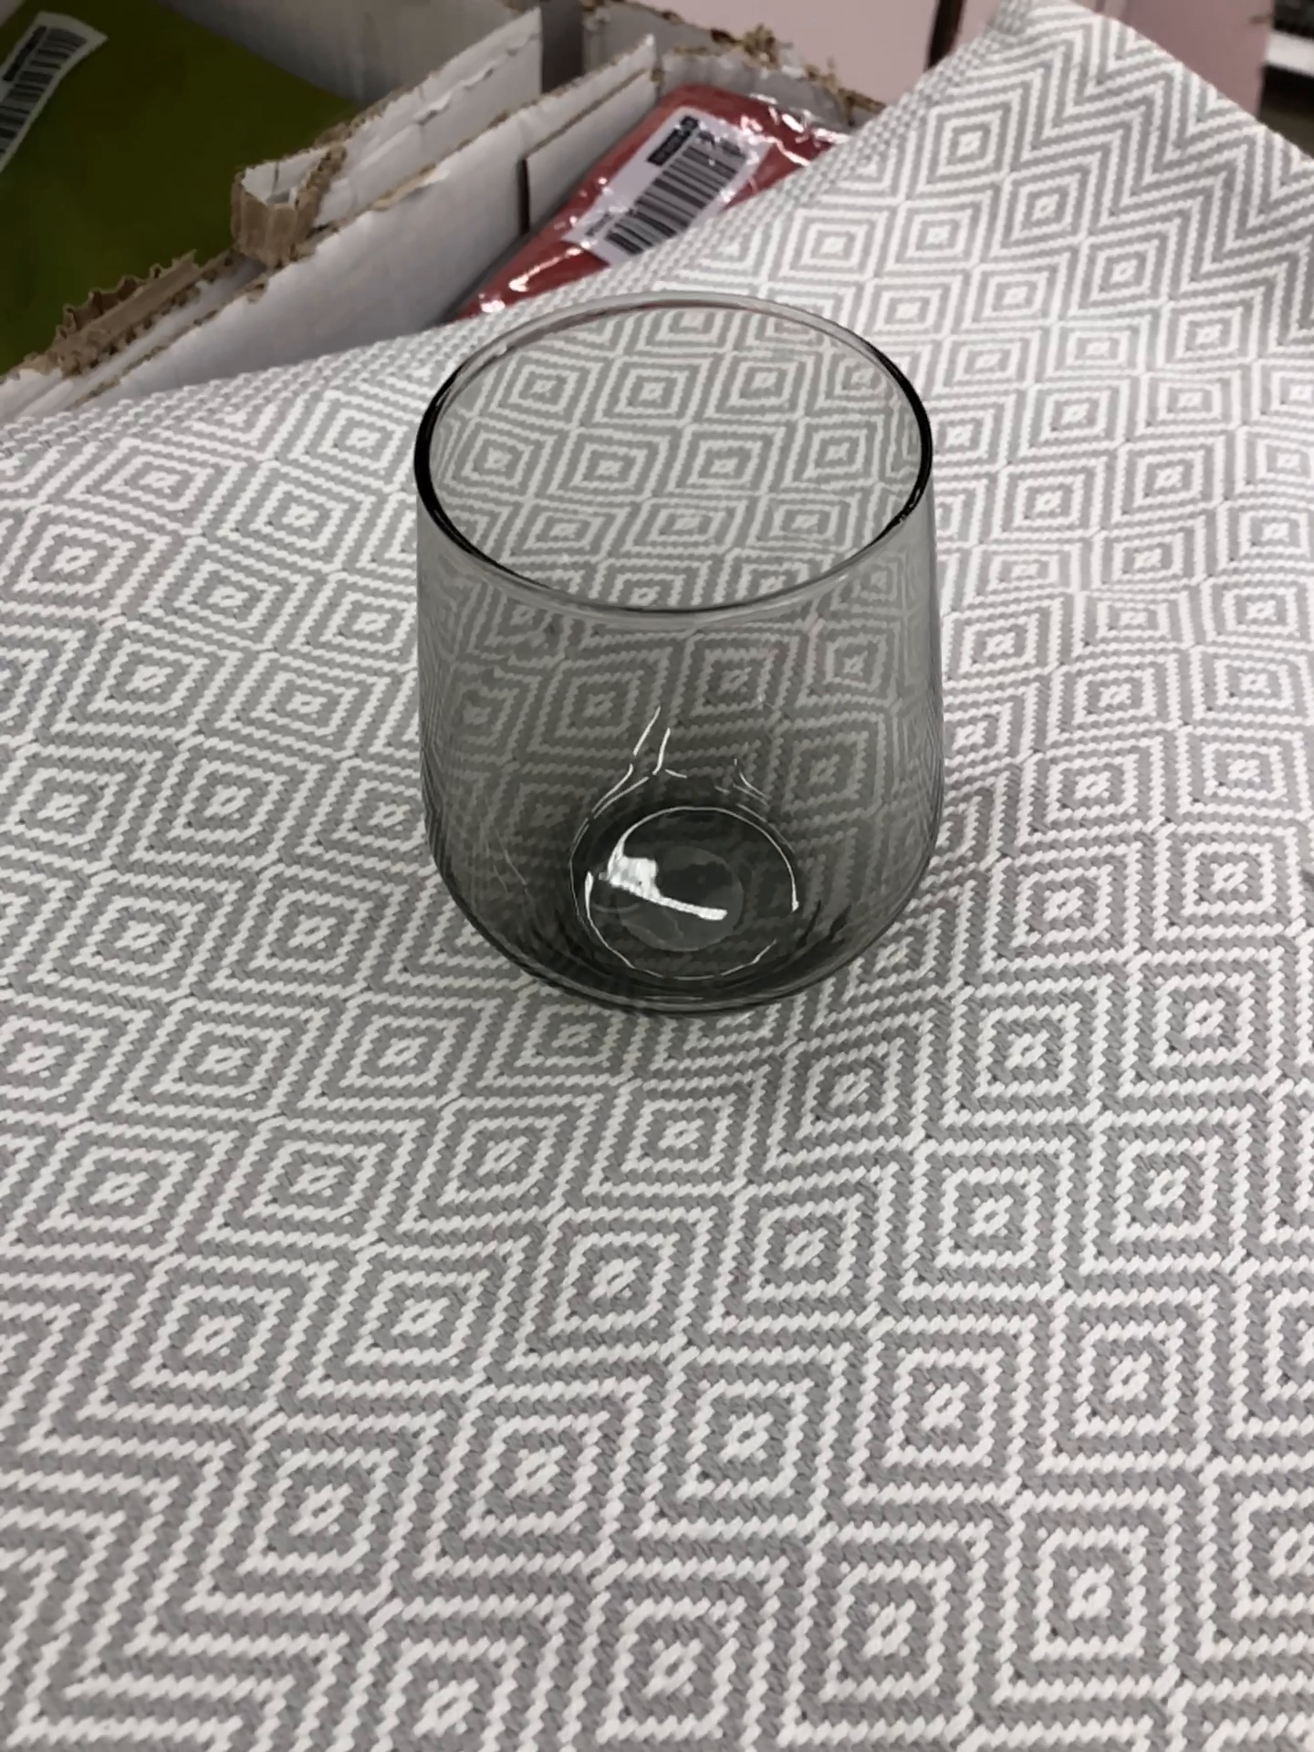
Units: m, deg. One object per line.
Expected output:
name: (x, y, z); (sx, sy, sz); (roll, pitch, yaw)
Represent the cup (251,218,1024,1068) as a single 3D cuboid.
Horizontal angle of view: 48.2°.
cup: (0.000, -0.031, 0.208); (0.080, 0.080, 0.080); (1, 52, -1)
